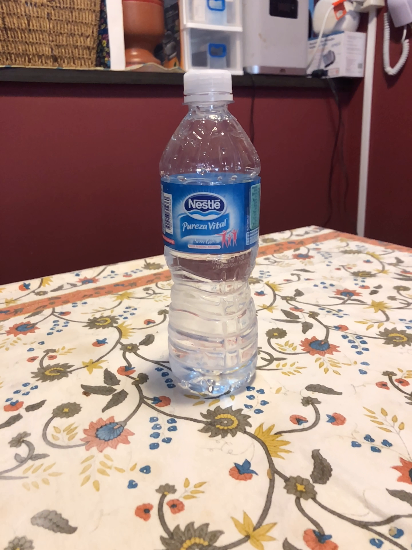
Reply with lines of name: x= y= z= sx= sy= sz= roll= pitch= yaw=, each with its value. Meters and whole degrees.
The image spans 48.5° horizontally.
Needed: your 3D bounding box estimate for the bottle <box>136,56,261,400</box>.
bottle: x=0.002 y=-0.025 z=0.284 sx=0.060 sy=0.189 sz=0.070 roll=-1 pitch=16 yaw=4
